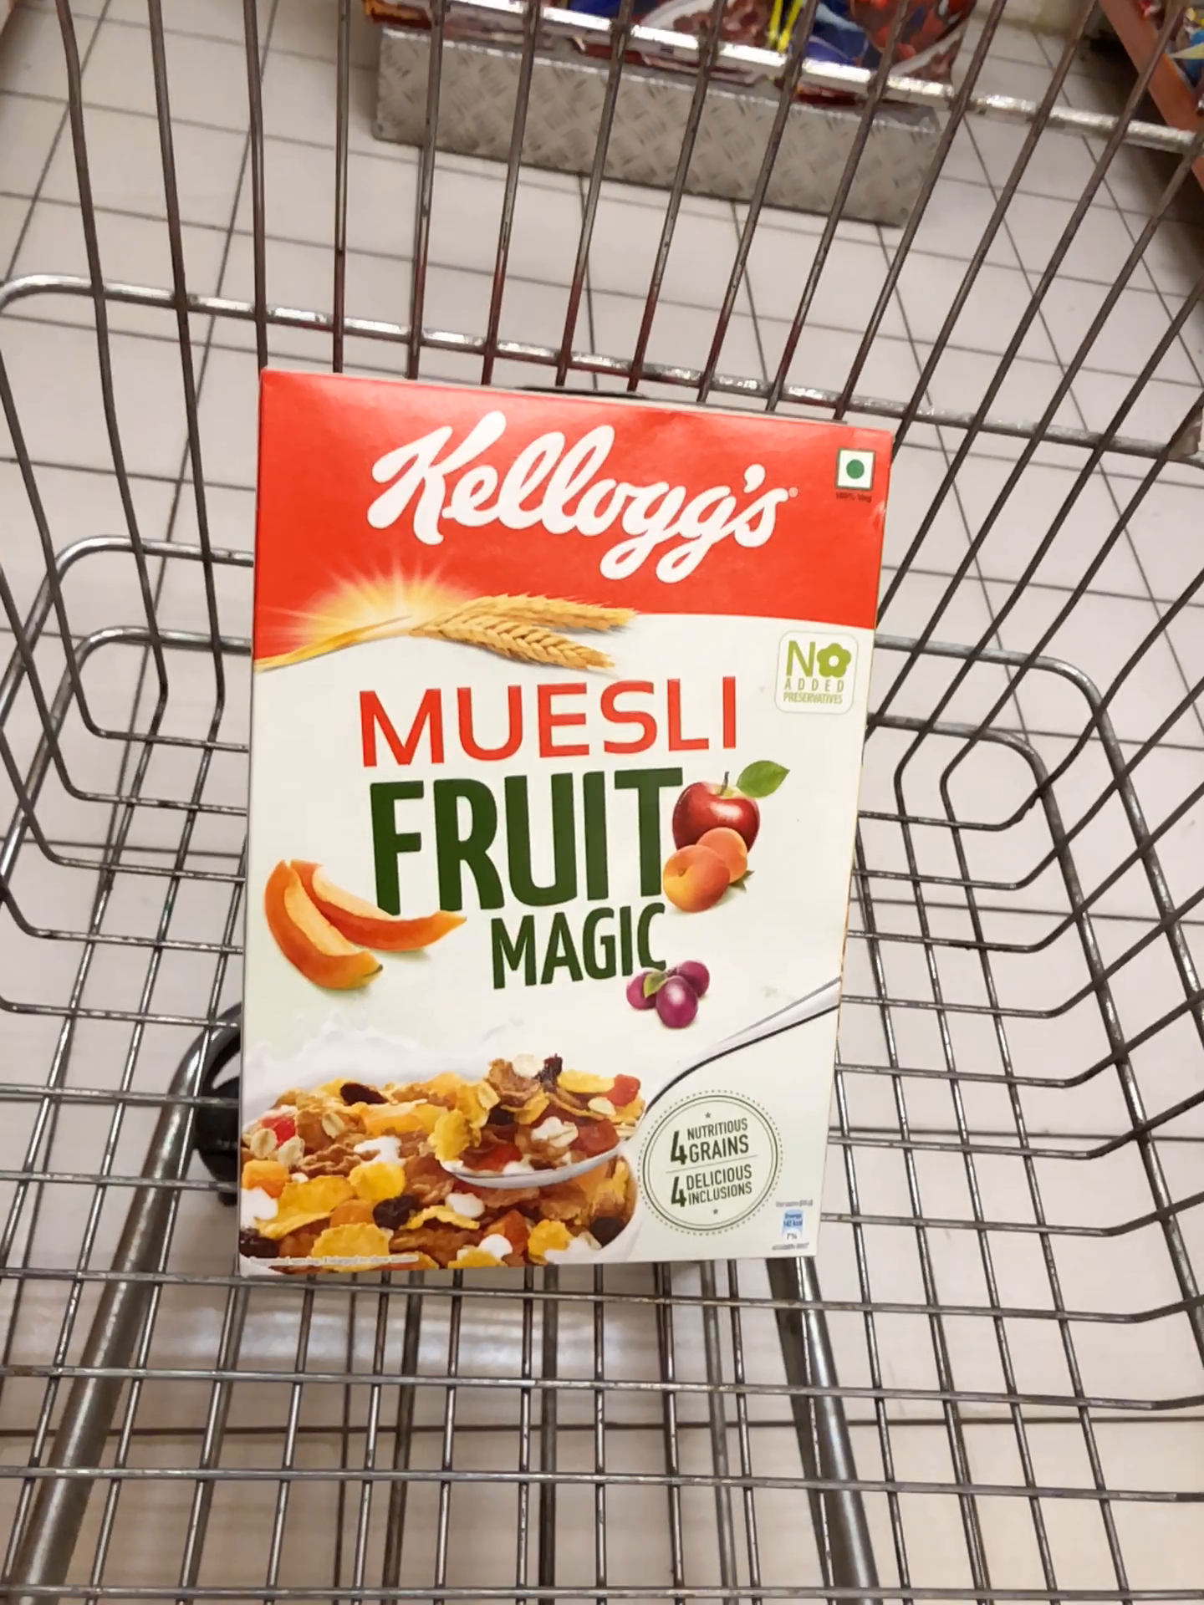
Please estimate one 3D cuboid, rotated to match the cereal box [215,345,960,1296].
[{"bbox_3d":[-0.014,0.010,0.428,0.200,0.269,0.080,2,12,-13],"label":"cereal box"}]
